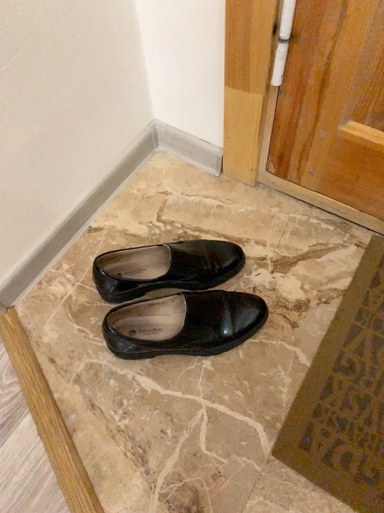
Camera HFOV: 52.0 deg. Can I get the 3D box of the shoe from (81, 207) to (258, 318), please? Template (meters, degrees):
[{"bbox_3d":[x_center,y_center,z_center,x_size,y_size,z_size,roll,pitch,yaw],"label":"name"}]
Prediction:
[{"bbox_3d":[-0.035,0.012,0.646,0.260,0.100,0.090,-12,59,-4],"label":"shoe"}]

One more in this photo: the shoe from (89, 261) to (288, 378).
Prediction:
[{"bbox_3d":[-0.006,0.095,0.581,0.260,0.100,0.090,-11,58,-3],"label":"shoe"}]
